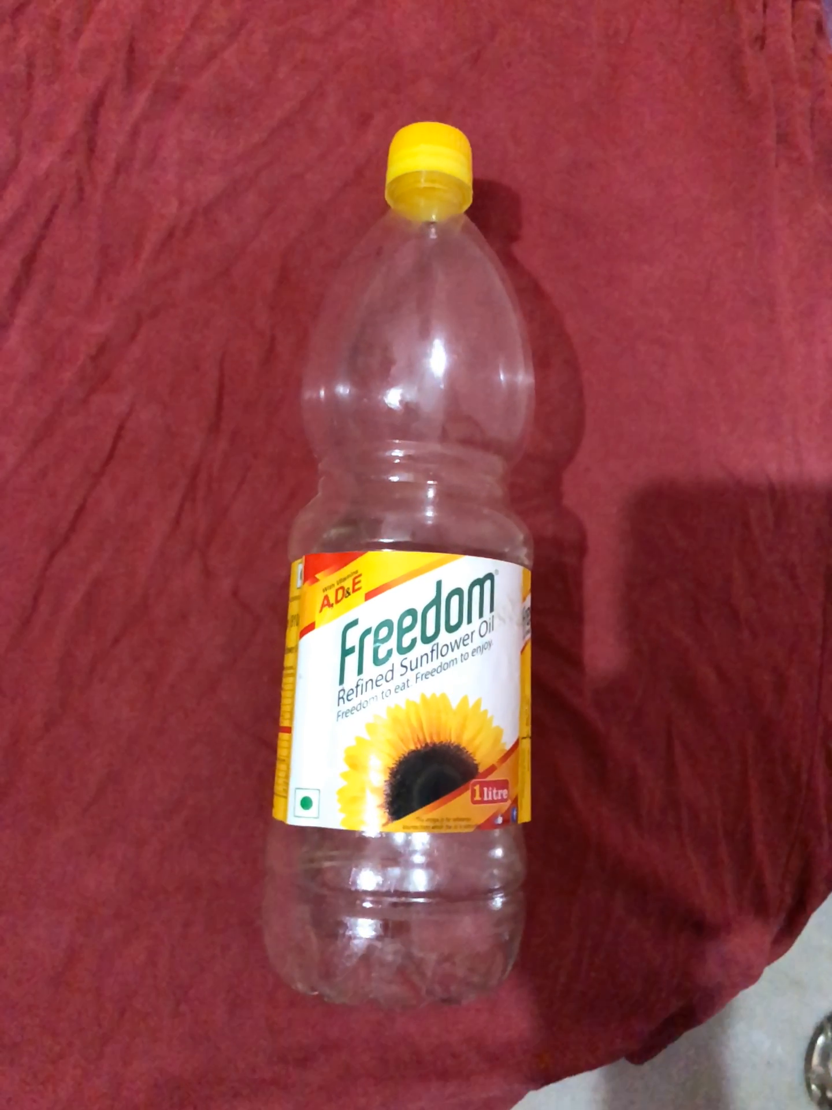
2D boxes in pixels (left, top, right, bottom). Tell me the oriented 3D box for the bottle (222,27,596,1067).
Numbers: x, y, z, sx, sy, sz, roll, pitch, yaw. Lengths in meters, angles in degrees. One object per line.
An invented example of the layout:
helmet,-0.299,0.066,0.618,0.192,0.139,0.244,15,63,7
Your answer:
bottle,-0.001,-0.005,0.281,0.080,0.060,0.270,7,82,-24
